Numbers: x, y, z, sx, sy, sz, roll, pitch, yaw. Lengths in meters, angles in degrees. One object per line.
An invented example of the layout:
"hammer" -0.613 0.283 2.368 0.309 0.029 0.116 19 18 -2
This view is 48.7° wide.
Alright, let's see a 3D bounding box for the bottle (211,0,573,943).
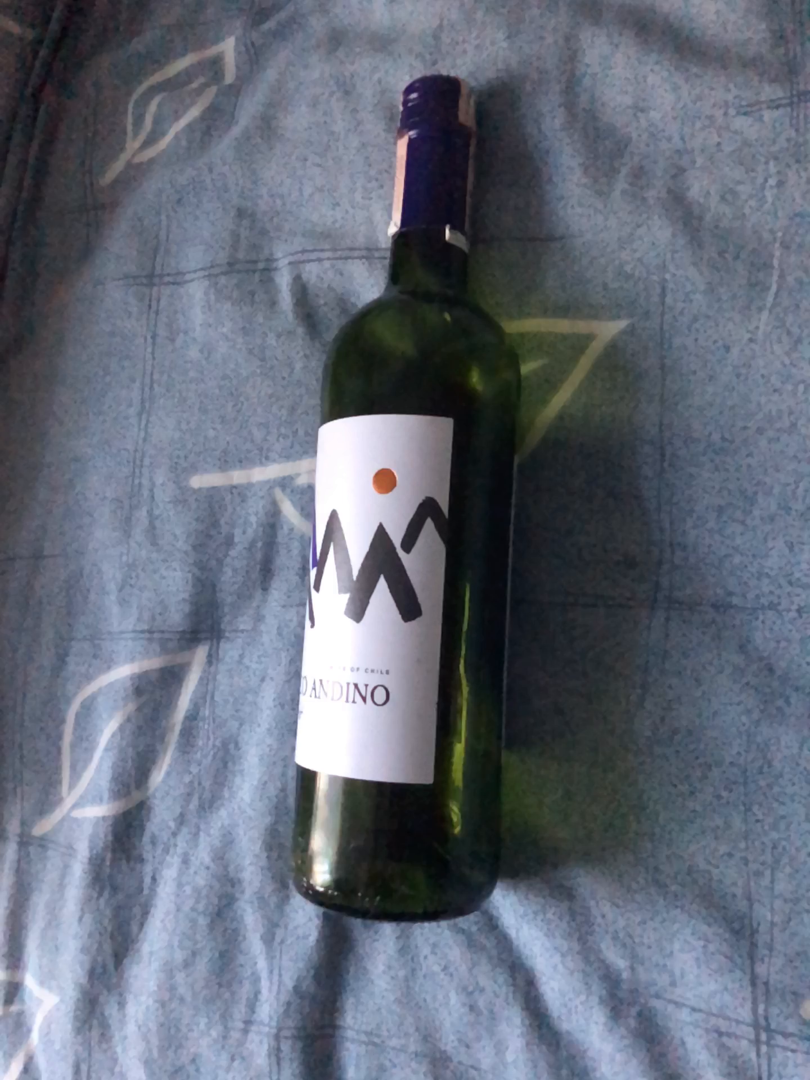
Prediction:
"bottle" -0.001 -0.024 0.324 0.080 0.080 0.290 -3 81 44
